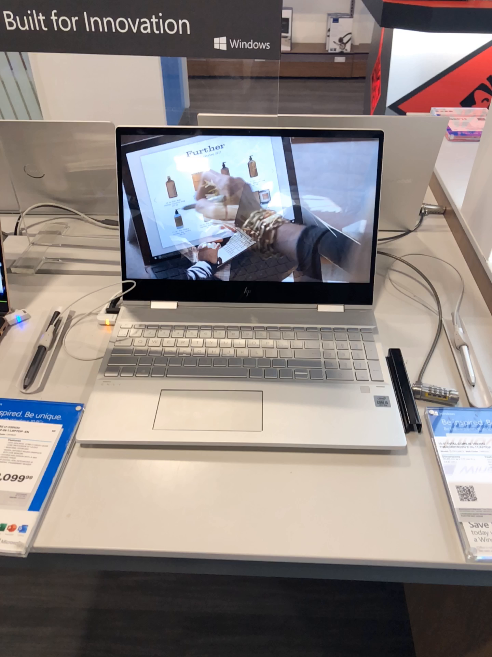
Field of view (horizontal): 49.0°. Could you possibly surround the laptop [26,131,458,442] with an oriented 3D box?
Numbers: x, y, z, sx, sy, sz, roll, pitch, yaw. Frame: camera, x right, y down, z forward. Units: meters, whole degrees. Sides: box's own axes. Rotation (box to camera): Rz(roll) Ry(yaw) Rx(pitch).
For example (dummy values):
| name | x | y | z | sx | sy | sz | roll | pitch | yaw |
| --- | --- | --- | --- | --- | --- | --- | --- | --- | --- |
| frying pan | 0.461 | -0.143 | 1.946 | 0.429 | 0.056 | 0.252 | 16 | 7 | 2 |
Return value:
| name | x | y | z | sx | sy | sz | roll | pitch | yaw |
| --- | --- | --- | --- | --- | --- | --- | --- | --- | --- |
| laptop | 0.002 | -0.073 | 0.652 | 0.358 | 0.210 | 0.355 | 1 | 39 | 2 |
